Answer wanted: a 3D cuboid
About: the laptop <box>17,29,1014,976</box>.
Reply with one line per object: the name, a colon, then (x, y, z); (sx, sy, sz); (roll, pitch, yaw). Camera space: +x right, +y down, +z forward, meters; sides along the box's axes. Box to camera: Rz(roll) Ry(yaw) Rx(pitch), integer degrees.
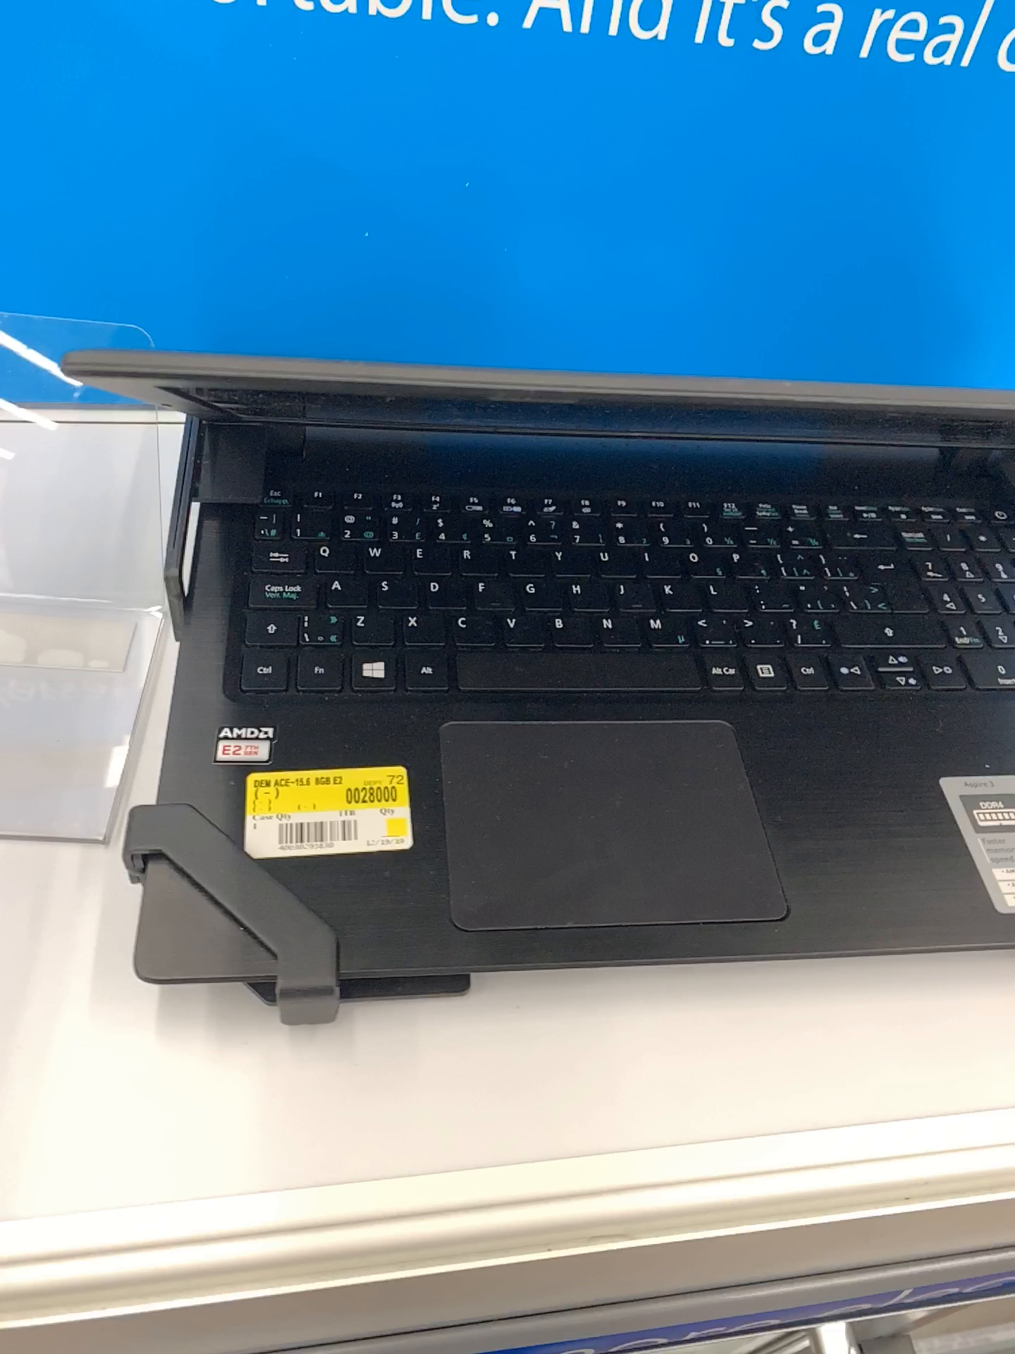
laptop: (0.079, -0.059, 0.329); (0.364, 0.146, 0.234); (0, 51, -9)
